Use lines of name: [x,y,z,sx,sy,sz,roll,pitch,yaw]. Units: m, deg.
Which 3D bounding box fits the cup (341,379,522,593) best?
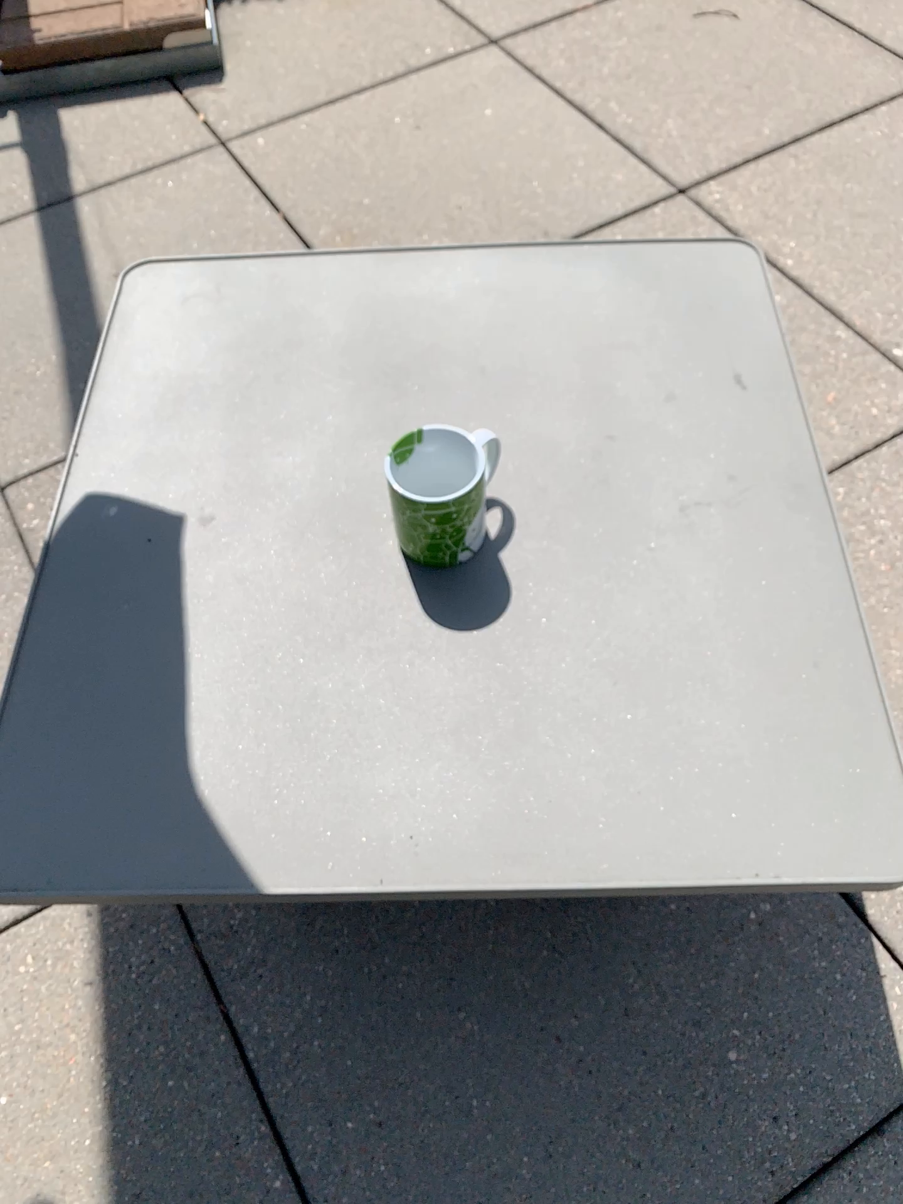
cup: [-0.012,-0.094,0.751,0.090,0.090,0.120,25,63,18]
